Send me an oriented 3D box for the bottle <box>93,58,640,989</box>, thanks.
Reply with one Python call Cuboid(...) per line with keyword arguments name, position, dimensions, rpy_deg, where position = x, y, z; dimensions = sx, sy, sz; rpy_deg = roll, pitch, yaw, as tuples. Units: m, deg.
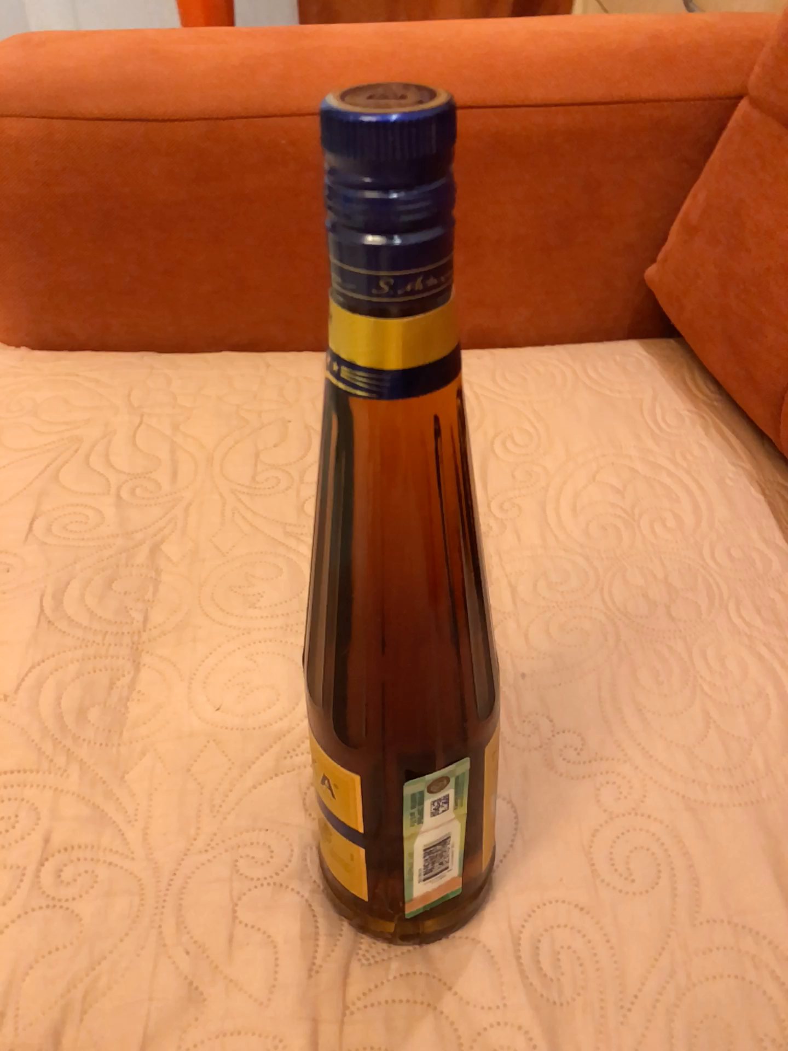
Cuboid(name="bottle", position=(0.003, 0.034, 0.282), dimensions=(0.090, 0.308, 0.101), rpy_deg=(7, 44, 8))
